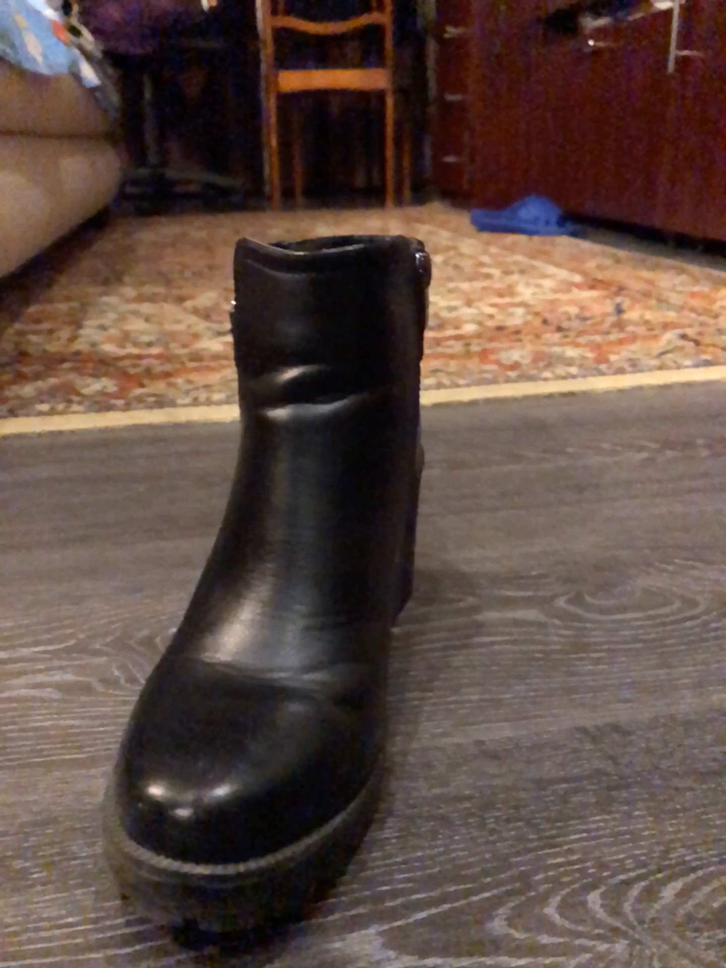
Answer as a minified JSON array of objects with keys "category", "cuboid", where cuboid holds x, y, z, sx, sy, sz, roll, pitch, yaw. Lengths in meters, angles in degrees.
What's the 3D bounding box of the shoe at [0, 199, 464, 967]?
[{"category":"shoe","cuboid":[-0.027,0.001,0.288,0.090,0.179,0.241,4,23,13]}]
